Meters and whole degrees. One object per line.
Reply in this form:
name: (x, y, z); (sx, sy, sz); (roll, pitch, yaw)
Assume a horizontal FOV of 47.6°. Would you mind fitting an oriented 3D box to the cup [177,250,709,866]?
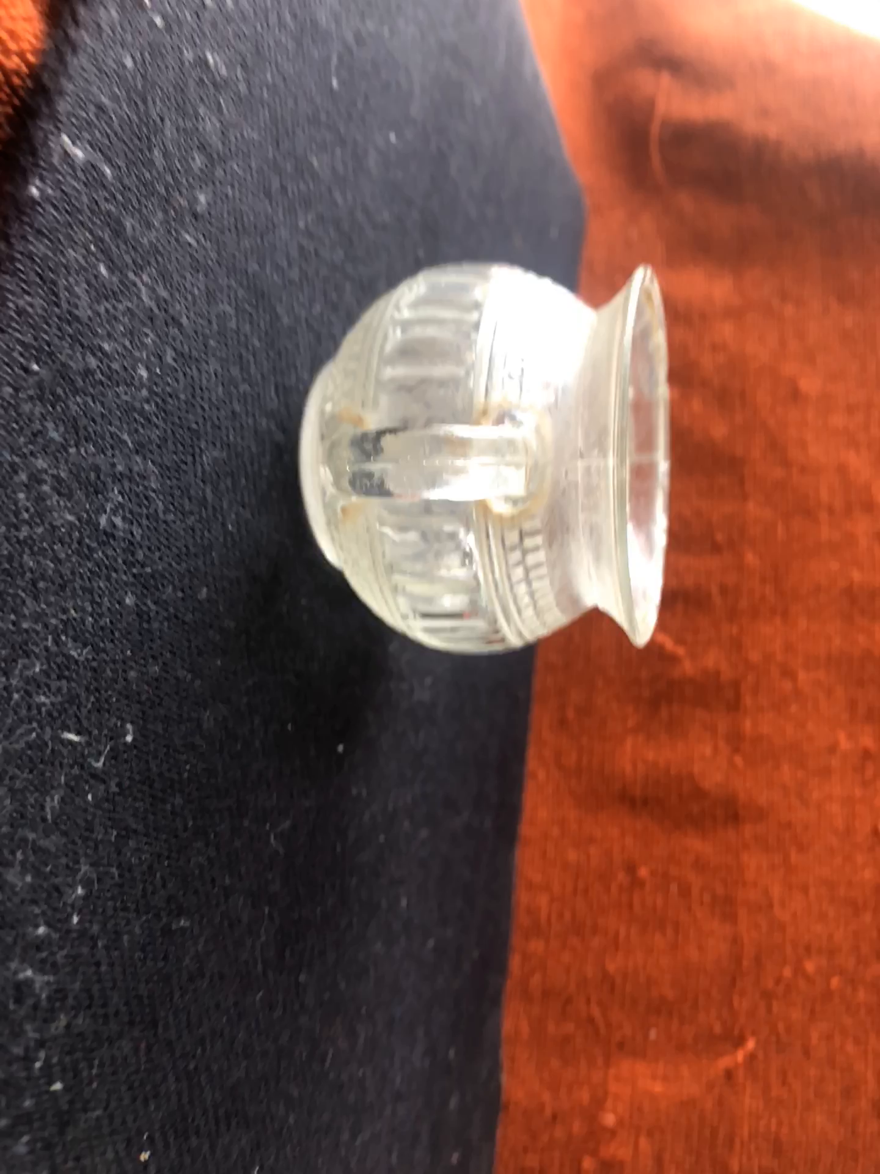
cup: (0.012, -0.013, 0.173); (0.090, 0.060, 0.070); (-56, 143, -58)
